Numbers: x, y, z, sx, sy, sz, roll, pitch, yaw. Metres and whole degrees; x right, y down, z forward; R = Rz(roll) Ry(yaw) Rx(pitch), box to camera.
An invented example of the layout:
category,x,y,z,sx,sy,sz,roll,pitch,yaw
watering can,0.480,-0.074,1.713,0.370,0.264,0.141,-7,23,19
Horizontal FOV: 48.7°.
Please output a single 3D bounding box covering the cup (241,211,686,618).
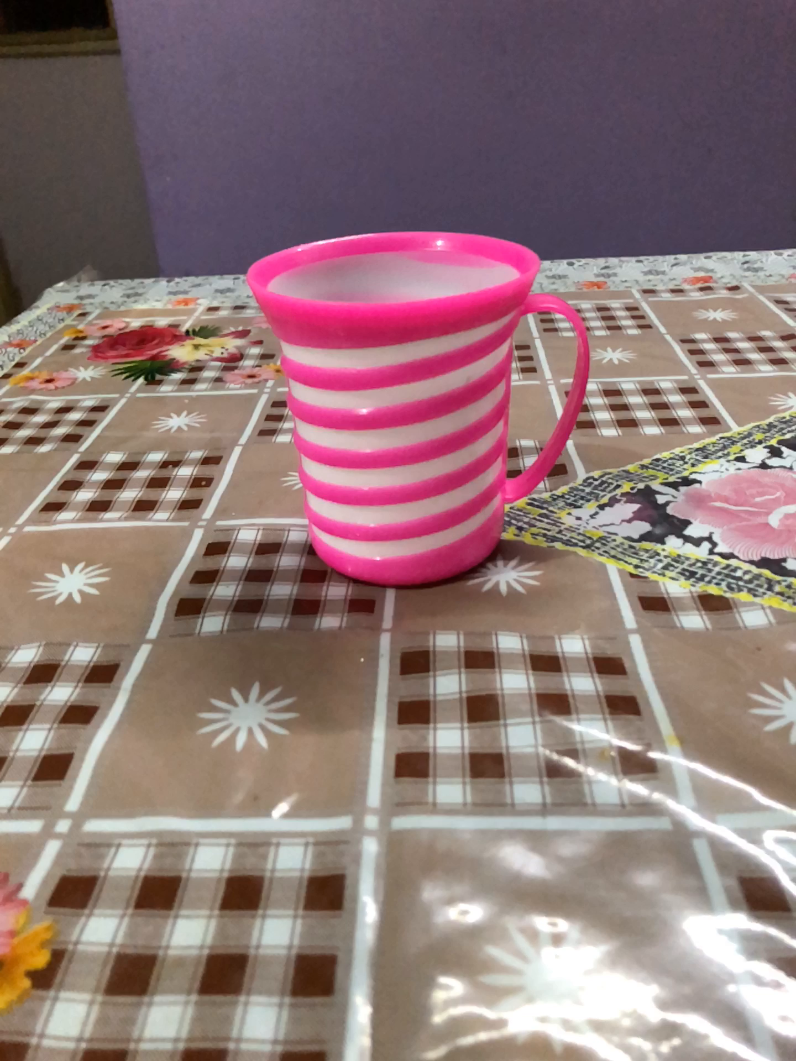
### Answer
category,x,y,z,sx,sy,sz,roll,pitch,yaw
cup,0.014,-0.041,0.273,0.110,0.089,0.080,-8,30,-8
